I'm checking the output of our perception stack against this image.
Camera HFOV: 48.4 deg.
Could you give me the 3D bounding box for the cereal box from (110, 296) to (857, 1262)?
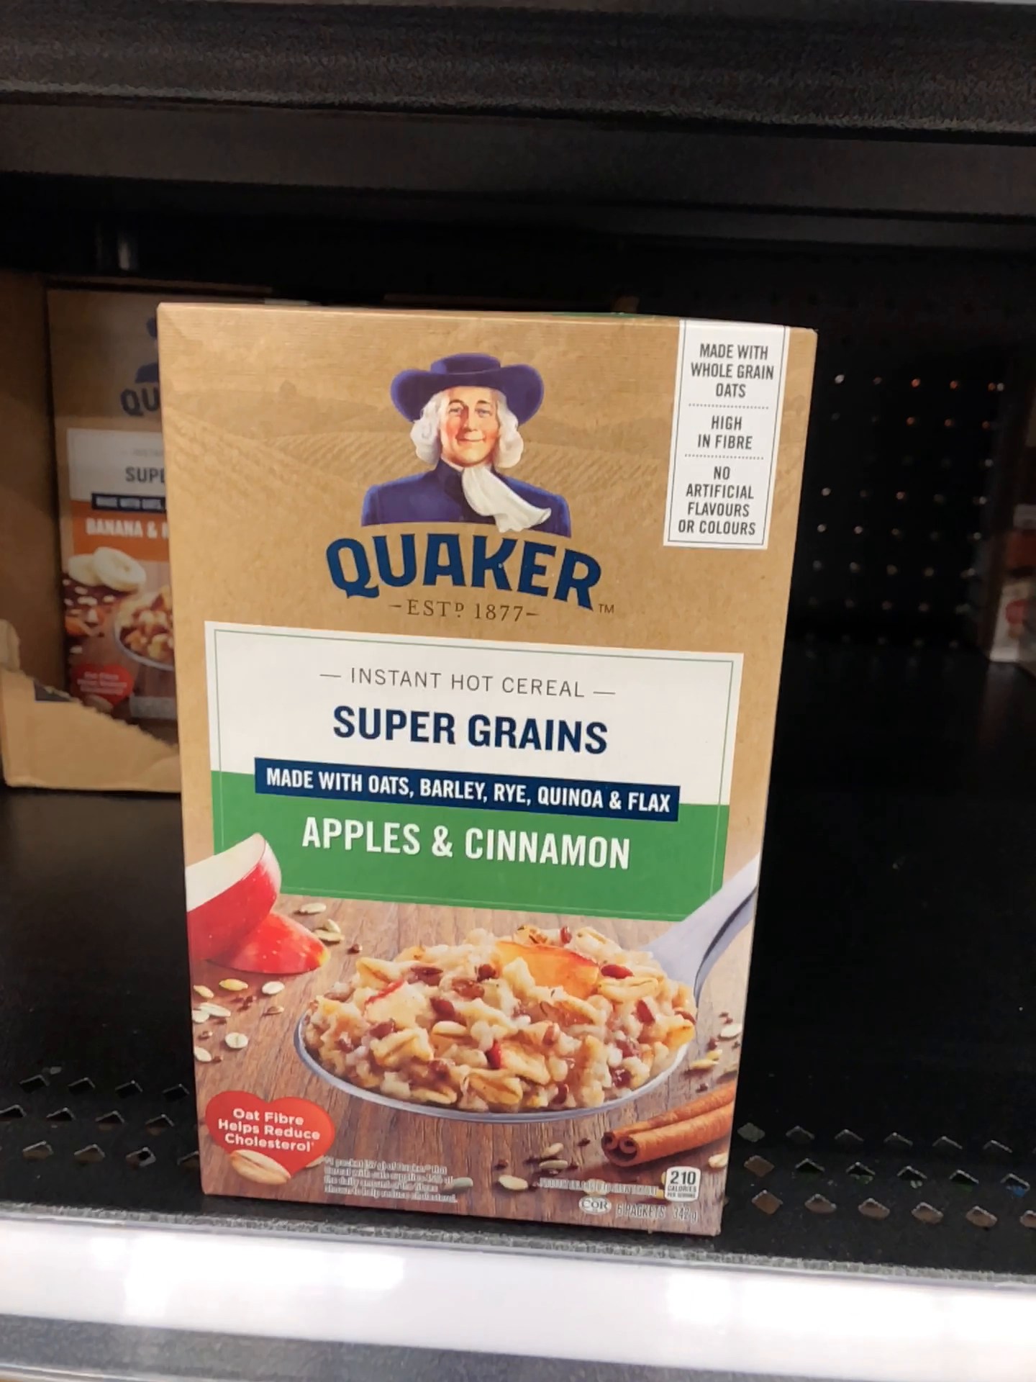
[{"bbox_3d":[-0.009,0.019,0.258,0.130,0.199,0.060,3,18,3],"label":"cereal box"}]
